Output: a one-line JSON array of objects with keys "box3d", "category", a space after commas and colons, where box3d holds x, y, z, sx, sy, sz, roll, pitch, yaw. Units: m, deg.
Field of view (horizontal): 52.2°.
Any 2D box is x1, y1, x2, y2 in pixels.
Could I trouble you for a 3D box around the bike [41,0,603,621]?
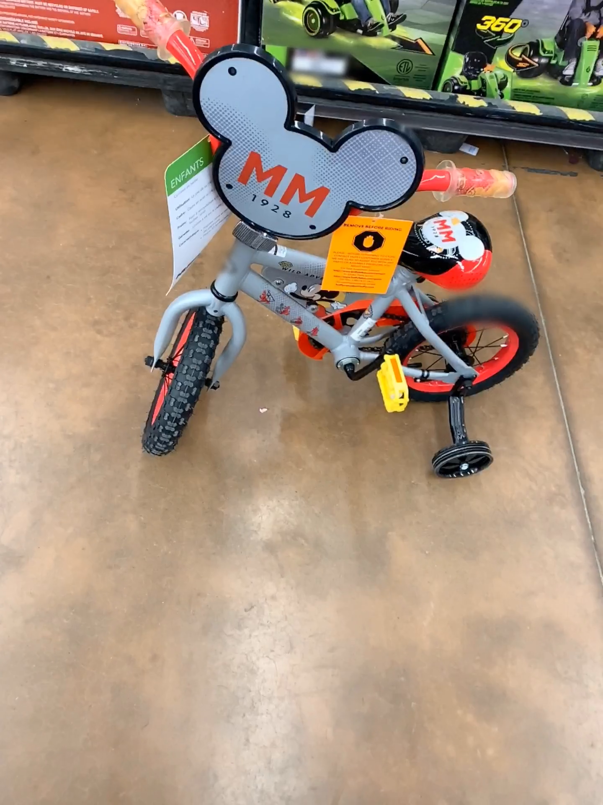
[{"box3d": [0.090, -0.121, 0.901, 0.679, 0.741, 0.450, -16, 60, -15], "category": "bike"}]
